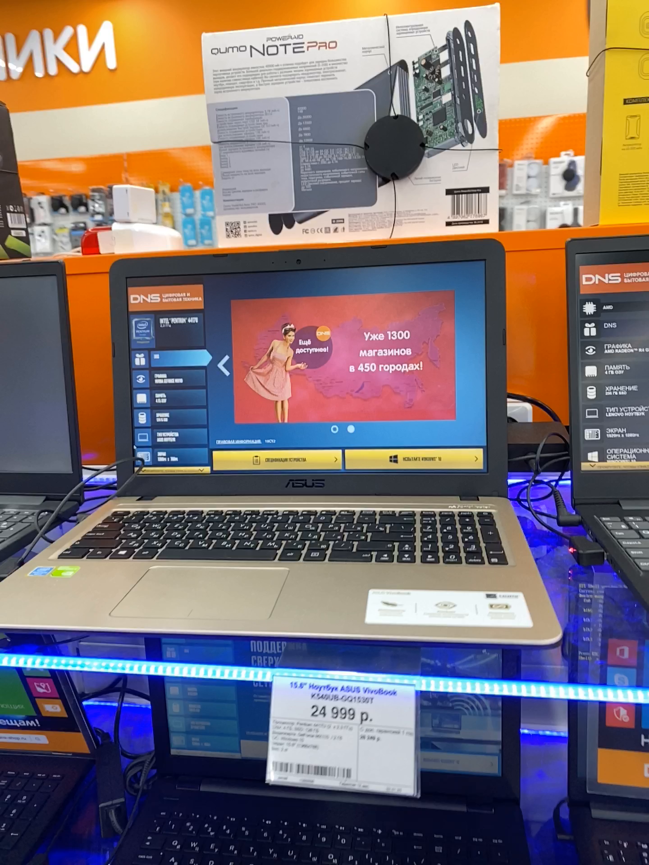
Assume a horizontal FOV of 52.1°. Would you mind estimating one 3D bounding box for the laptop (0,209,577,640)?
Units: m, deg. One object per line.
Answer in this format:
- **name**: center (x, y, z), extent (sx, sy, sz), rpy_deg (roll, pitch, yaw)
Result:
- **laptop**: center (-0.037, -0.027, 0.519), extent (0.376, 0.231, 0.294), rpy_deg (-1, 12, 9)
